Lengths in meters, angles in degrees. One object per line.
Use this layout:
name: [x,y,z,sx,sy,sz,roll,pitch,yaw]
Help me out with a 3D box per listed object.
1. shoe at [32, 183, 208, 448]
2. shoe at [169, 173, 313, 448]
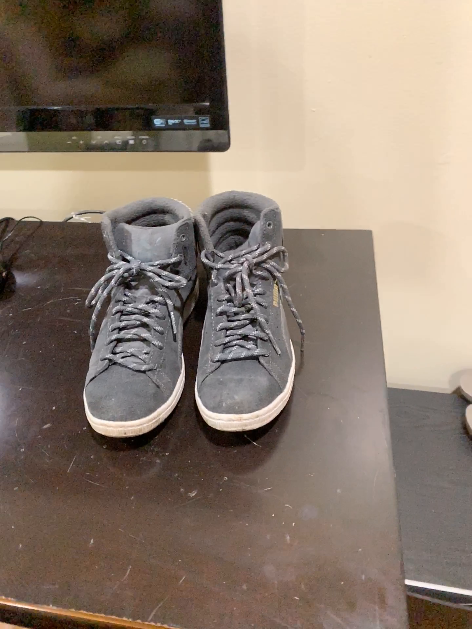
shoe: [-0.087,-0.017,0.467,0.100,0.107,0.263,-2,40,2]
shoe: [0.007,-0.019,0.462,0.097,0.124,0.254,-2,40,2]
